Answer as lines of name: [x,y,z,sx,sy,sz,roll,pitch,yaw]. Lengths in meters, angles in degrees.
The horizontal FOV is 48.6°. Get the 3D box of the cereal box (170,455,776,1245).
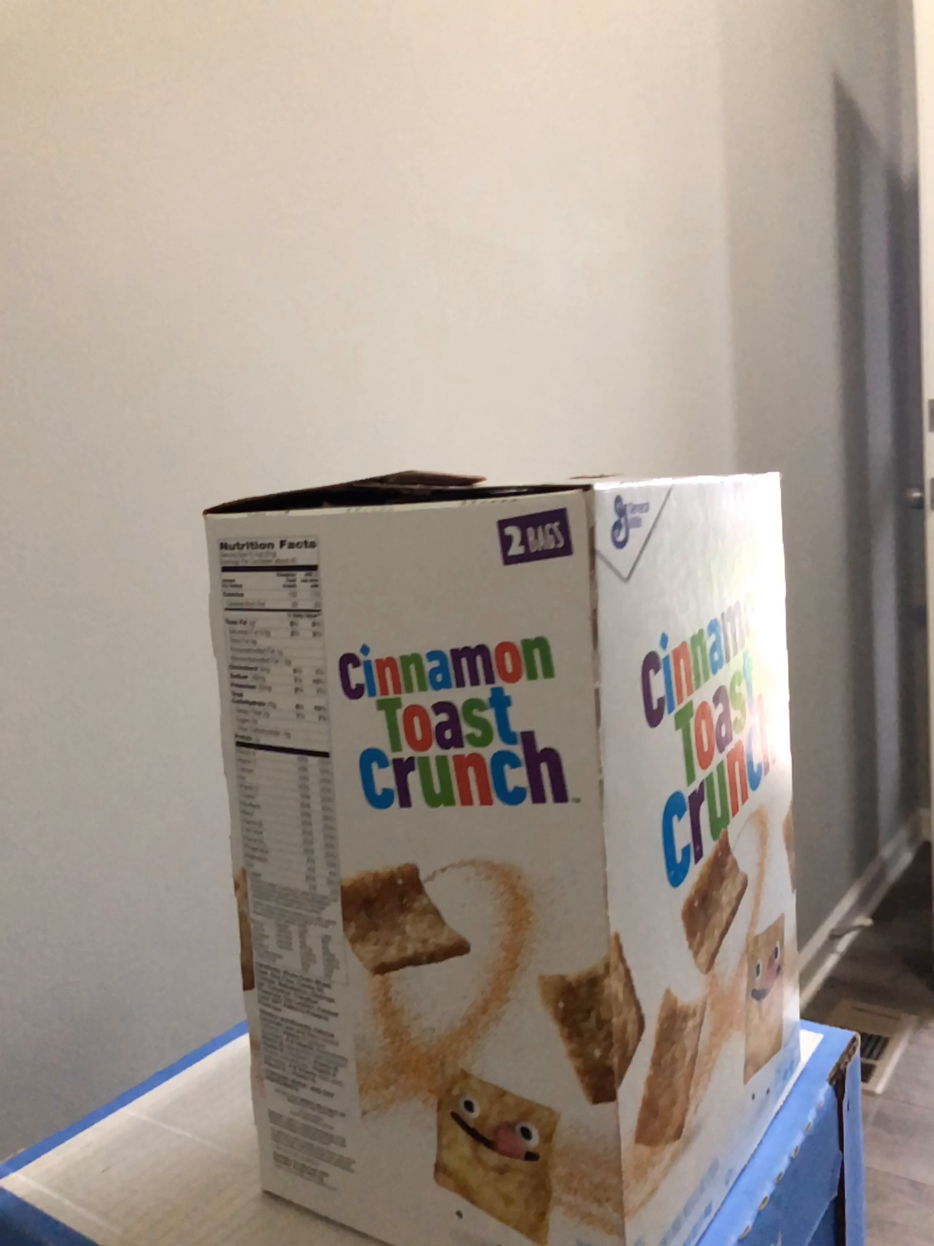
cereal box: [0.018,0.088,0.463,0.170,0.310,0.200,0,7,33]
